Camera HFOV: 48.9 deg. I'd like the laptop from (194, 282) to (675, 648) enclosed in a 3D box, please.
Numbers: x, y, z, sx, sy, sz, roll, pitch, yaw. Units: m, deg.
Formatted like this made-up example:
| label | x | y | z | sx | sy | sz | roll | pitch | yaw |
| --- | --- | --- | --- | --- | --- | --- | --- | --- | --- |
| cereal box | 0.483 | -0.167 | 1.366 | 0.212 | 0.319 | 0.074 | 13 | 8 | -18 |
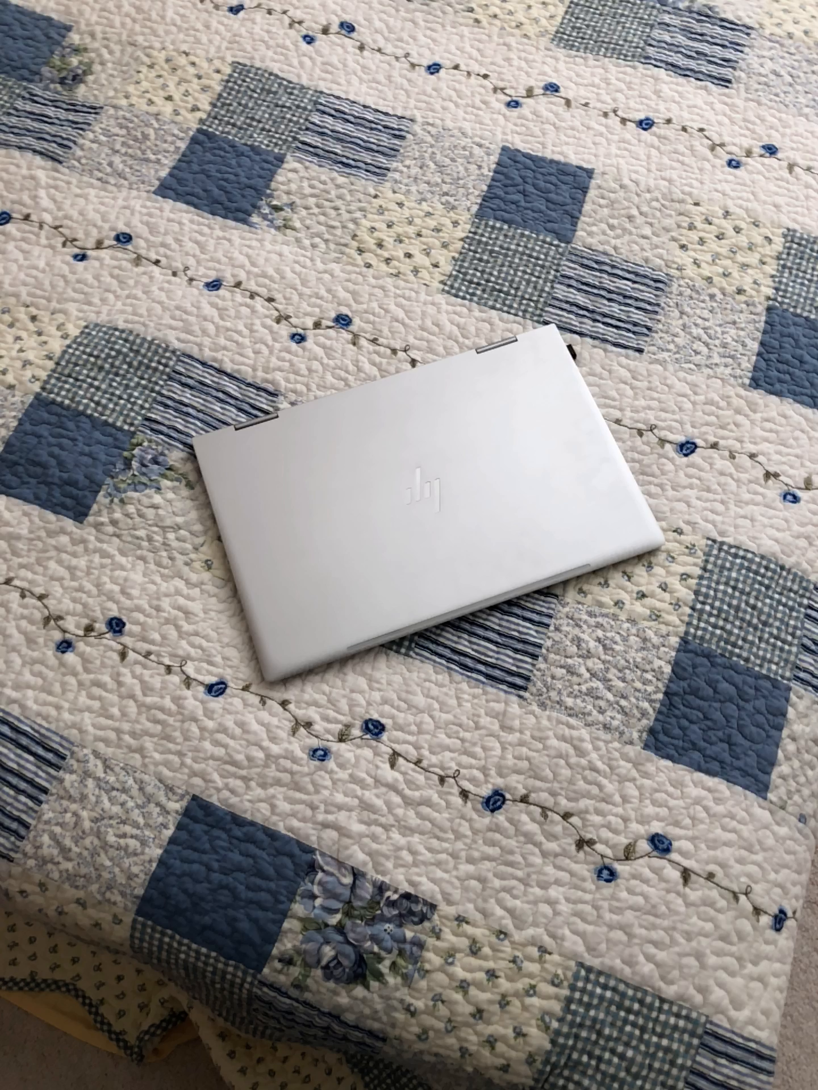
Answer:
| label | x | y | z | sx | sy | sz | roll | pitch | yaw |
| --- | --- | --- | --- | --- | --- | --- | --- | --- | --- |
| laptop | 0.016 | -0.085 | 0.854 | 0.386 | 0.011 | 0.256 | -19 | 71 | -4 |
